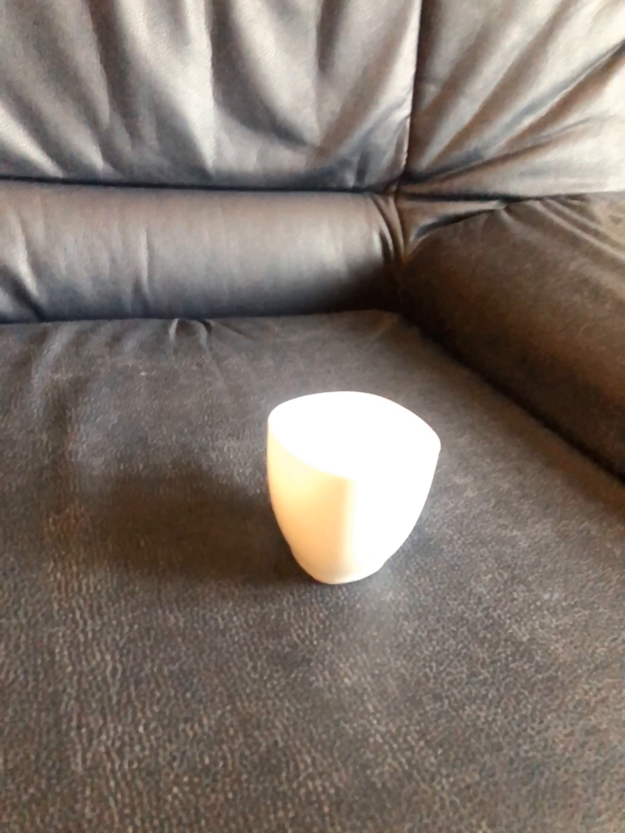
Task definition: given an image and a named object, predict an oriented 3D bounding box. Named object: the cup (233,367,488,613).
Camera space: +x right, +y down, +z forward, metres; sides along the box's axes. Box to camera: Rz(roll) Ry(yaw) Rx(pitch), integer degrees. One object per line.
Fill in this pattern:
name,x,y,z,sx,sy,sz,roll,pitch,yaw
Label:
cup,0.017,0.029,0.340,0.080,0.063,0.101,-7,32,-25
